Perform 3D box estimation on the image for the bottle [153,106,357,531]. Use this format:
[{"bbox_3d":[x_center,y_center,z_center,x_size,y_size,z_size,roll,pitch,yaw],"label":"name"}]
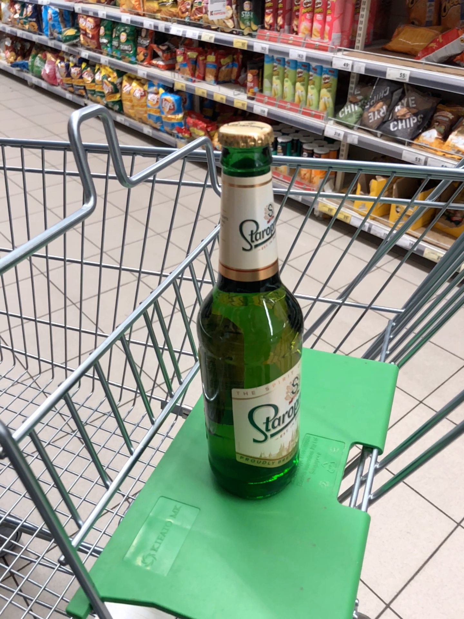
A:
[{"bbox_3d":[0.016,0.016,0.302,0.070,0.239,0.070,-1,34,1],"label":"bottle"}]
